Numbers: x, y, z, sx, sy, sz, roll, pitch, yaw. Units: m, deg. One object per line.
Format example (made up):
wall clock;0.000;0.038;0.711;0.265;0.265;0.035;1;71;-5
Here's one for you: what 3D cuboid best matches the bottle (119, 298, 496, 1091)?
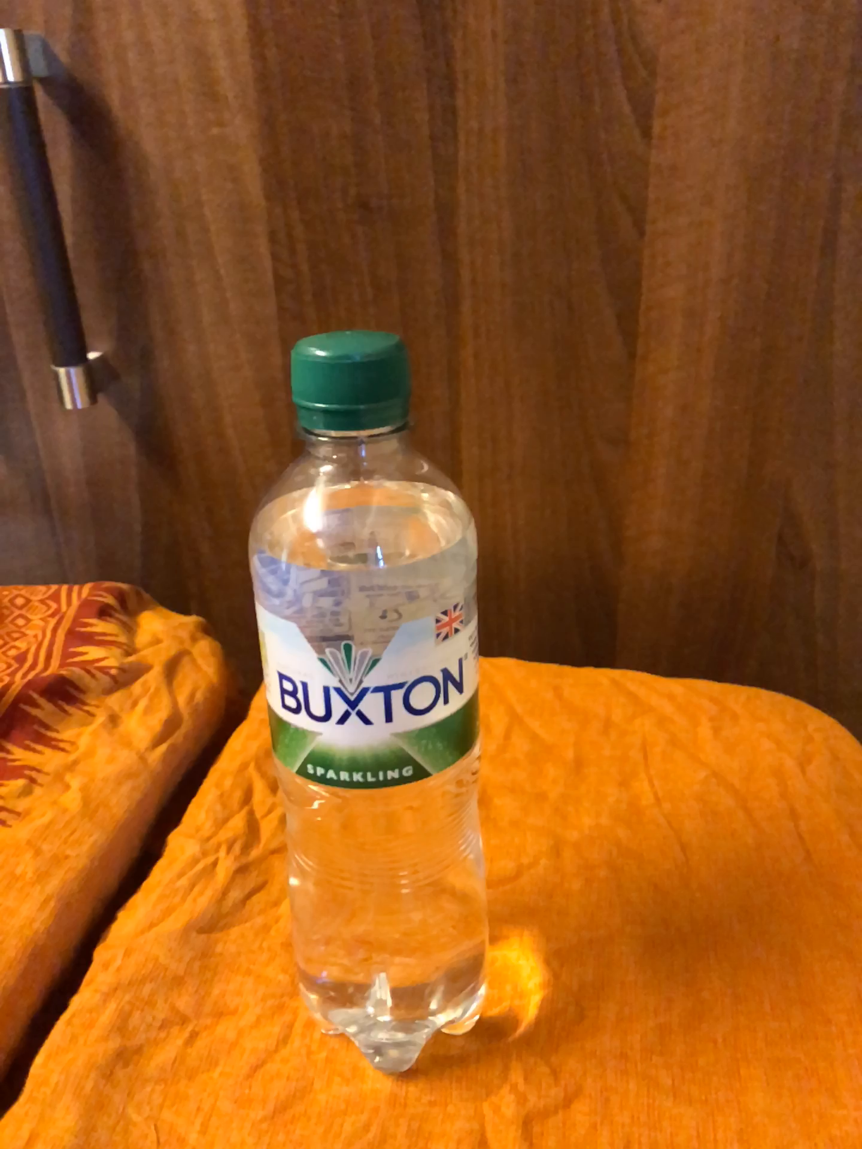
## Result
bottle;-0.022;0.040;0.275;0.070;0.218;0.070;-1;27;1
